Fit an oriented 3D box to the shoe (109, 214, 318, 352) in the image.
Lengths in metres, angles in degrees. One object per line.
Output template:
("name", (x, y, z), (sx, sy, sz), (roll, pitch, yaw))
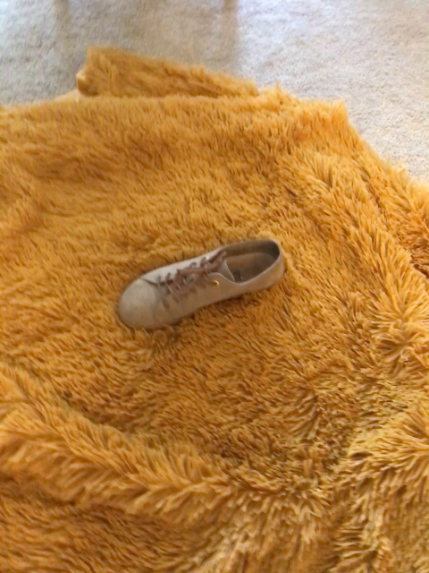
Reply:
("shoe", (-0.001, -0.008, 0.644), (0.258, 0.070, 0.100), (-17, 63, -13))
